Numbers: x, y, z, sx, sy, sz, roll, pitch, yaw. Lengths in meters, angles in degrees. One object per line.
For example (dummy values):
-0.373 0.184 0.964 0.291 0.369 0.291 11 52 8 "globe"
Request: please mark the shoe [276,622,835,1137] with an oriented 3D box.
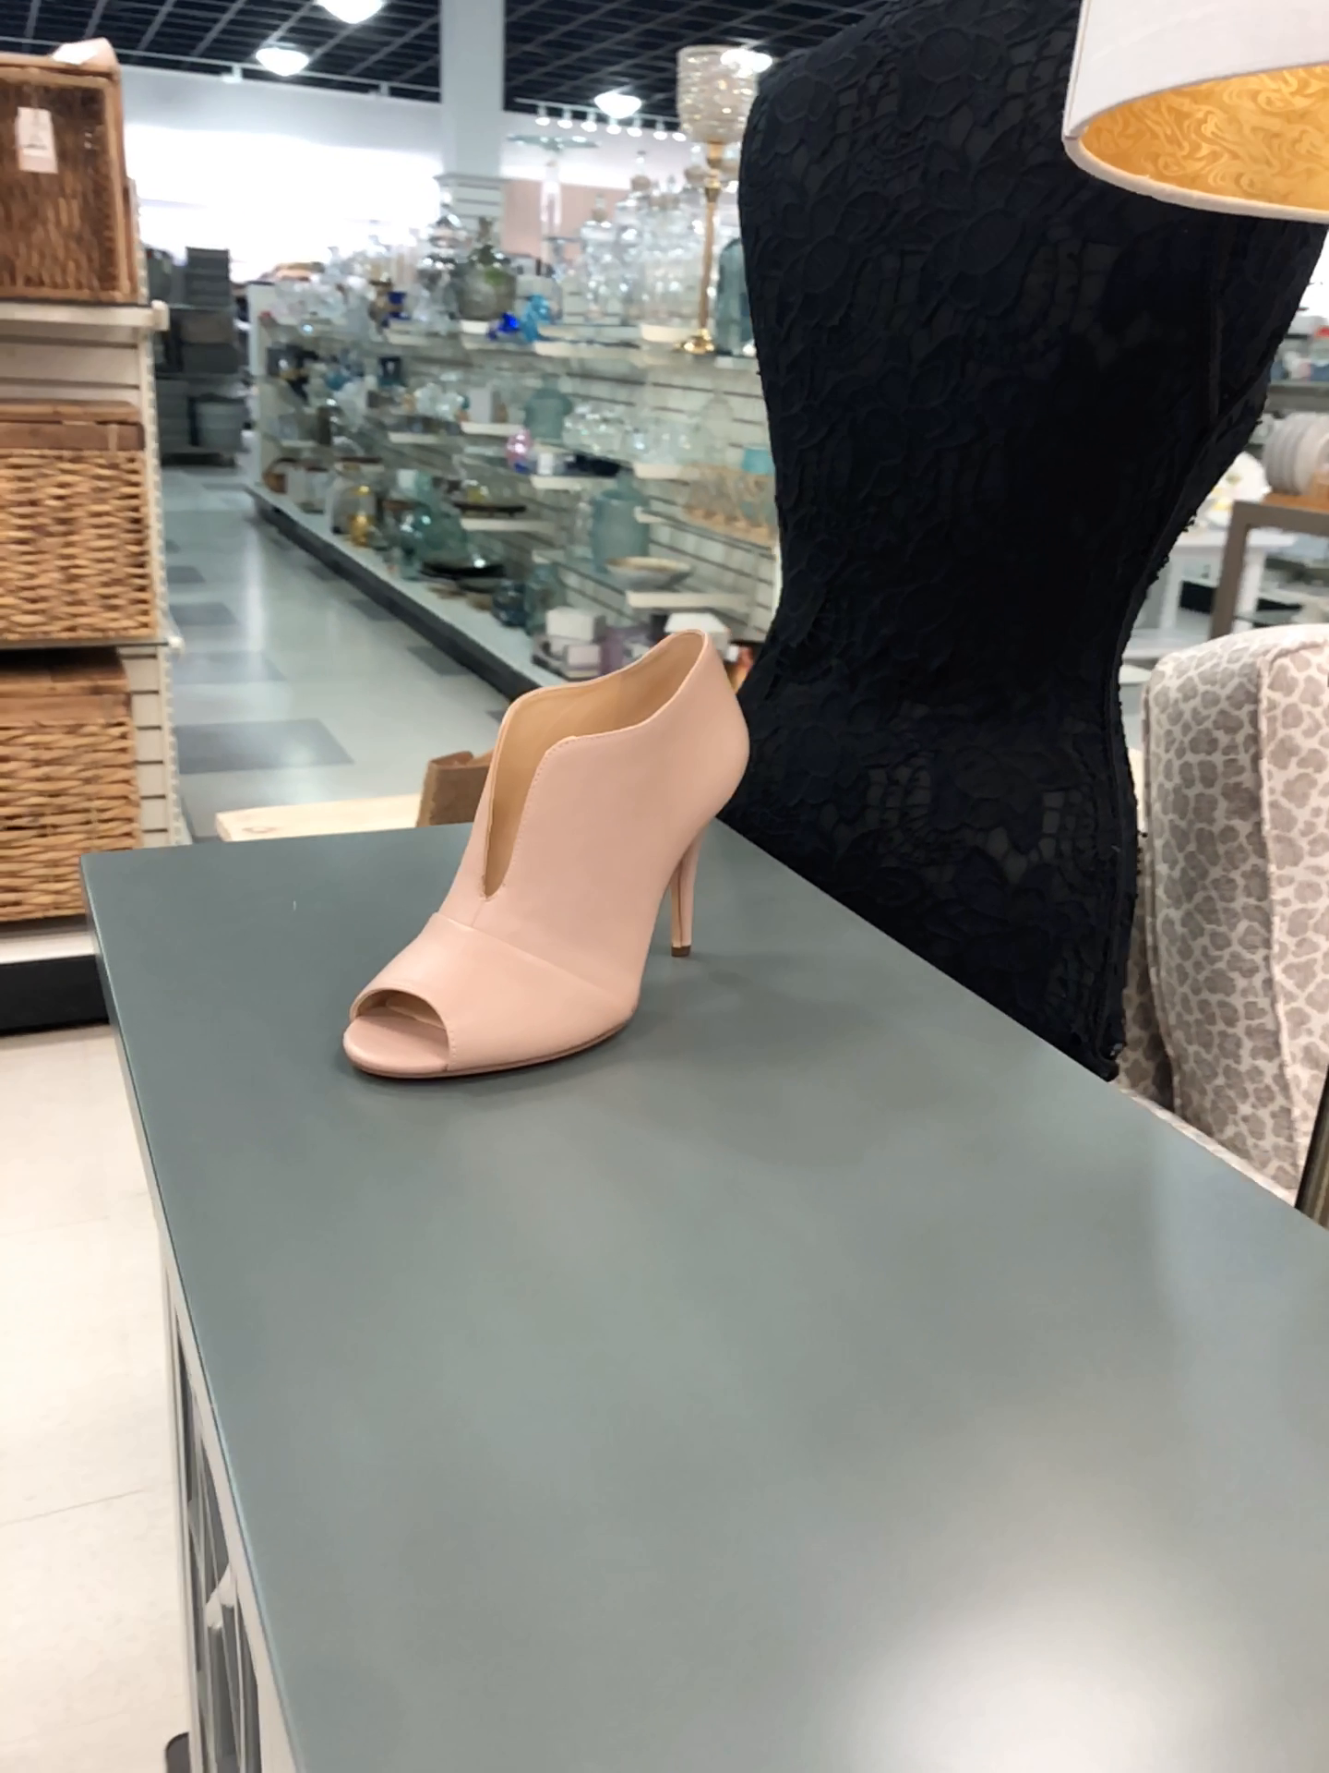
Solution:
-0.038 -0.018 0.620 0.097 0.152 0.225 18 24 37 "shoe"
